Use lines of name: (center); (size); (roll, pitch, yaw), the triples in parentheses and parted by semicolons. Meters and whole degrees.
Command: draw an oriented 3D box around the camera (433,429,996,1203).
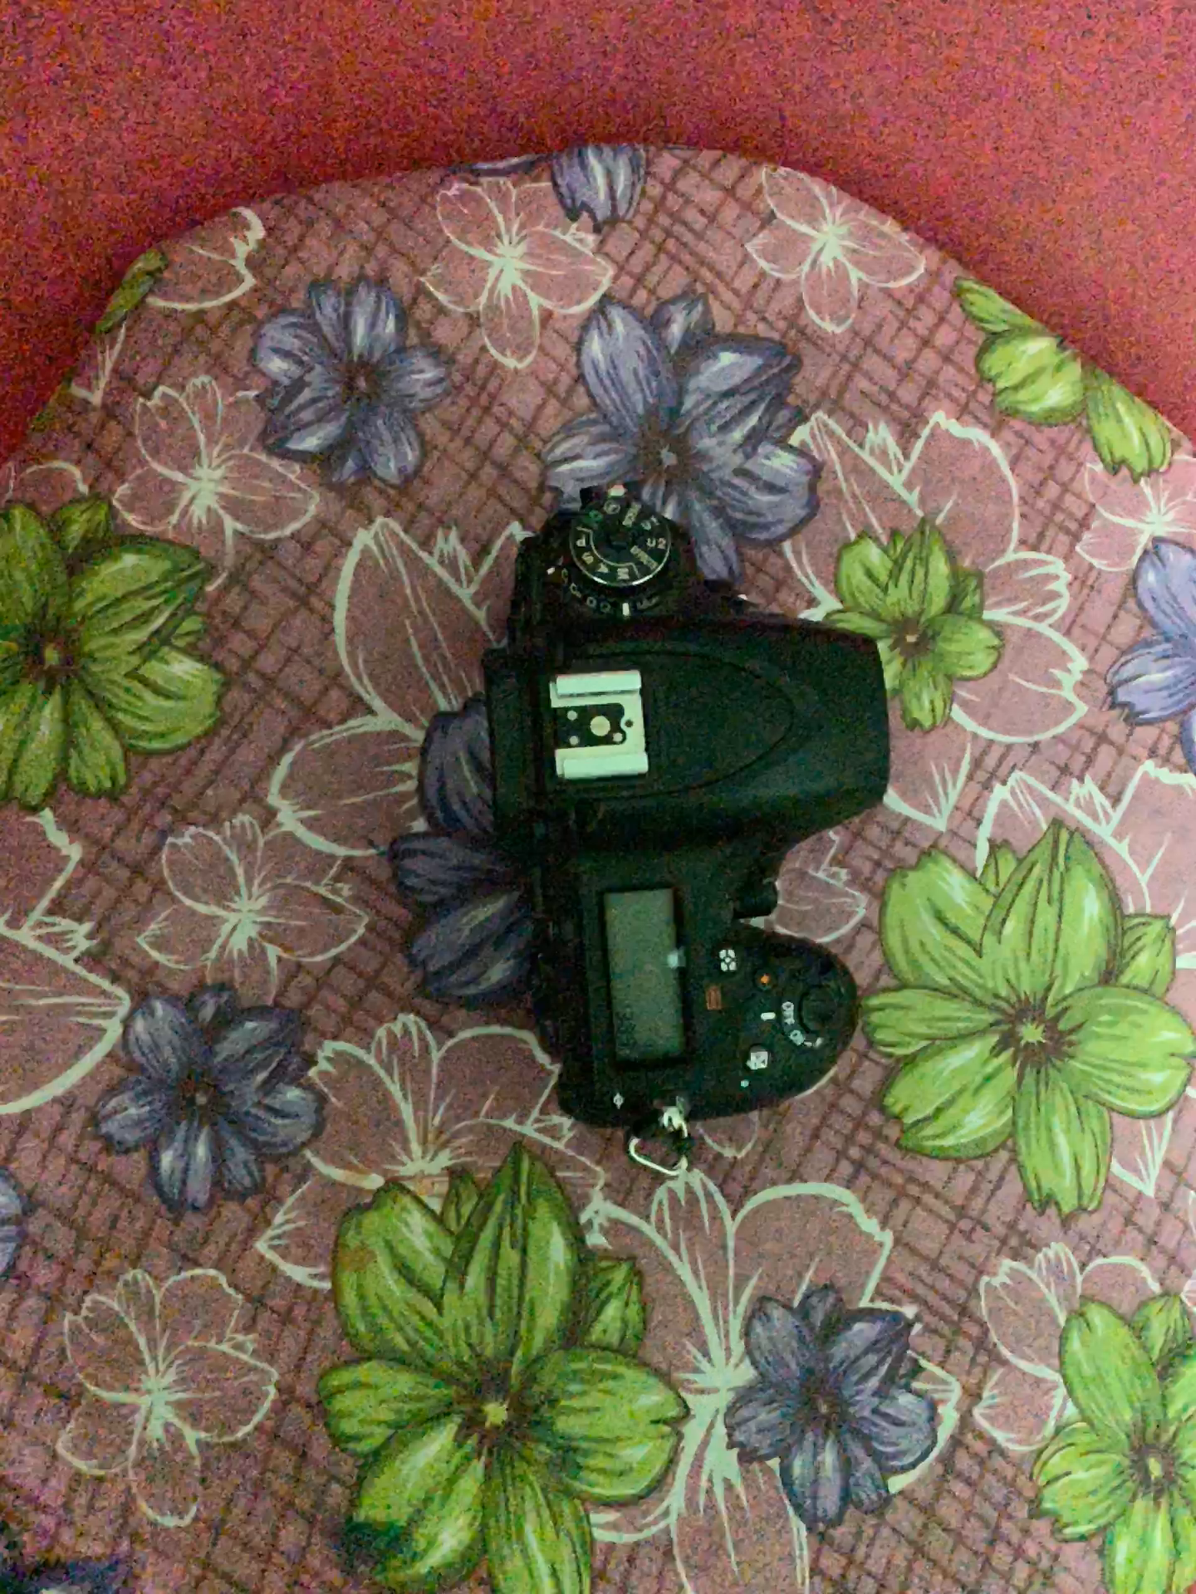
camera: (0.018, 0.003, 0.280); (0.092, 0.090, 0.140); (-6, 89, -11)
